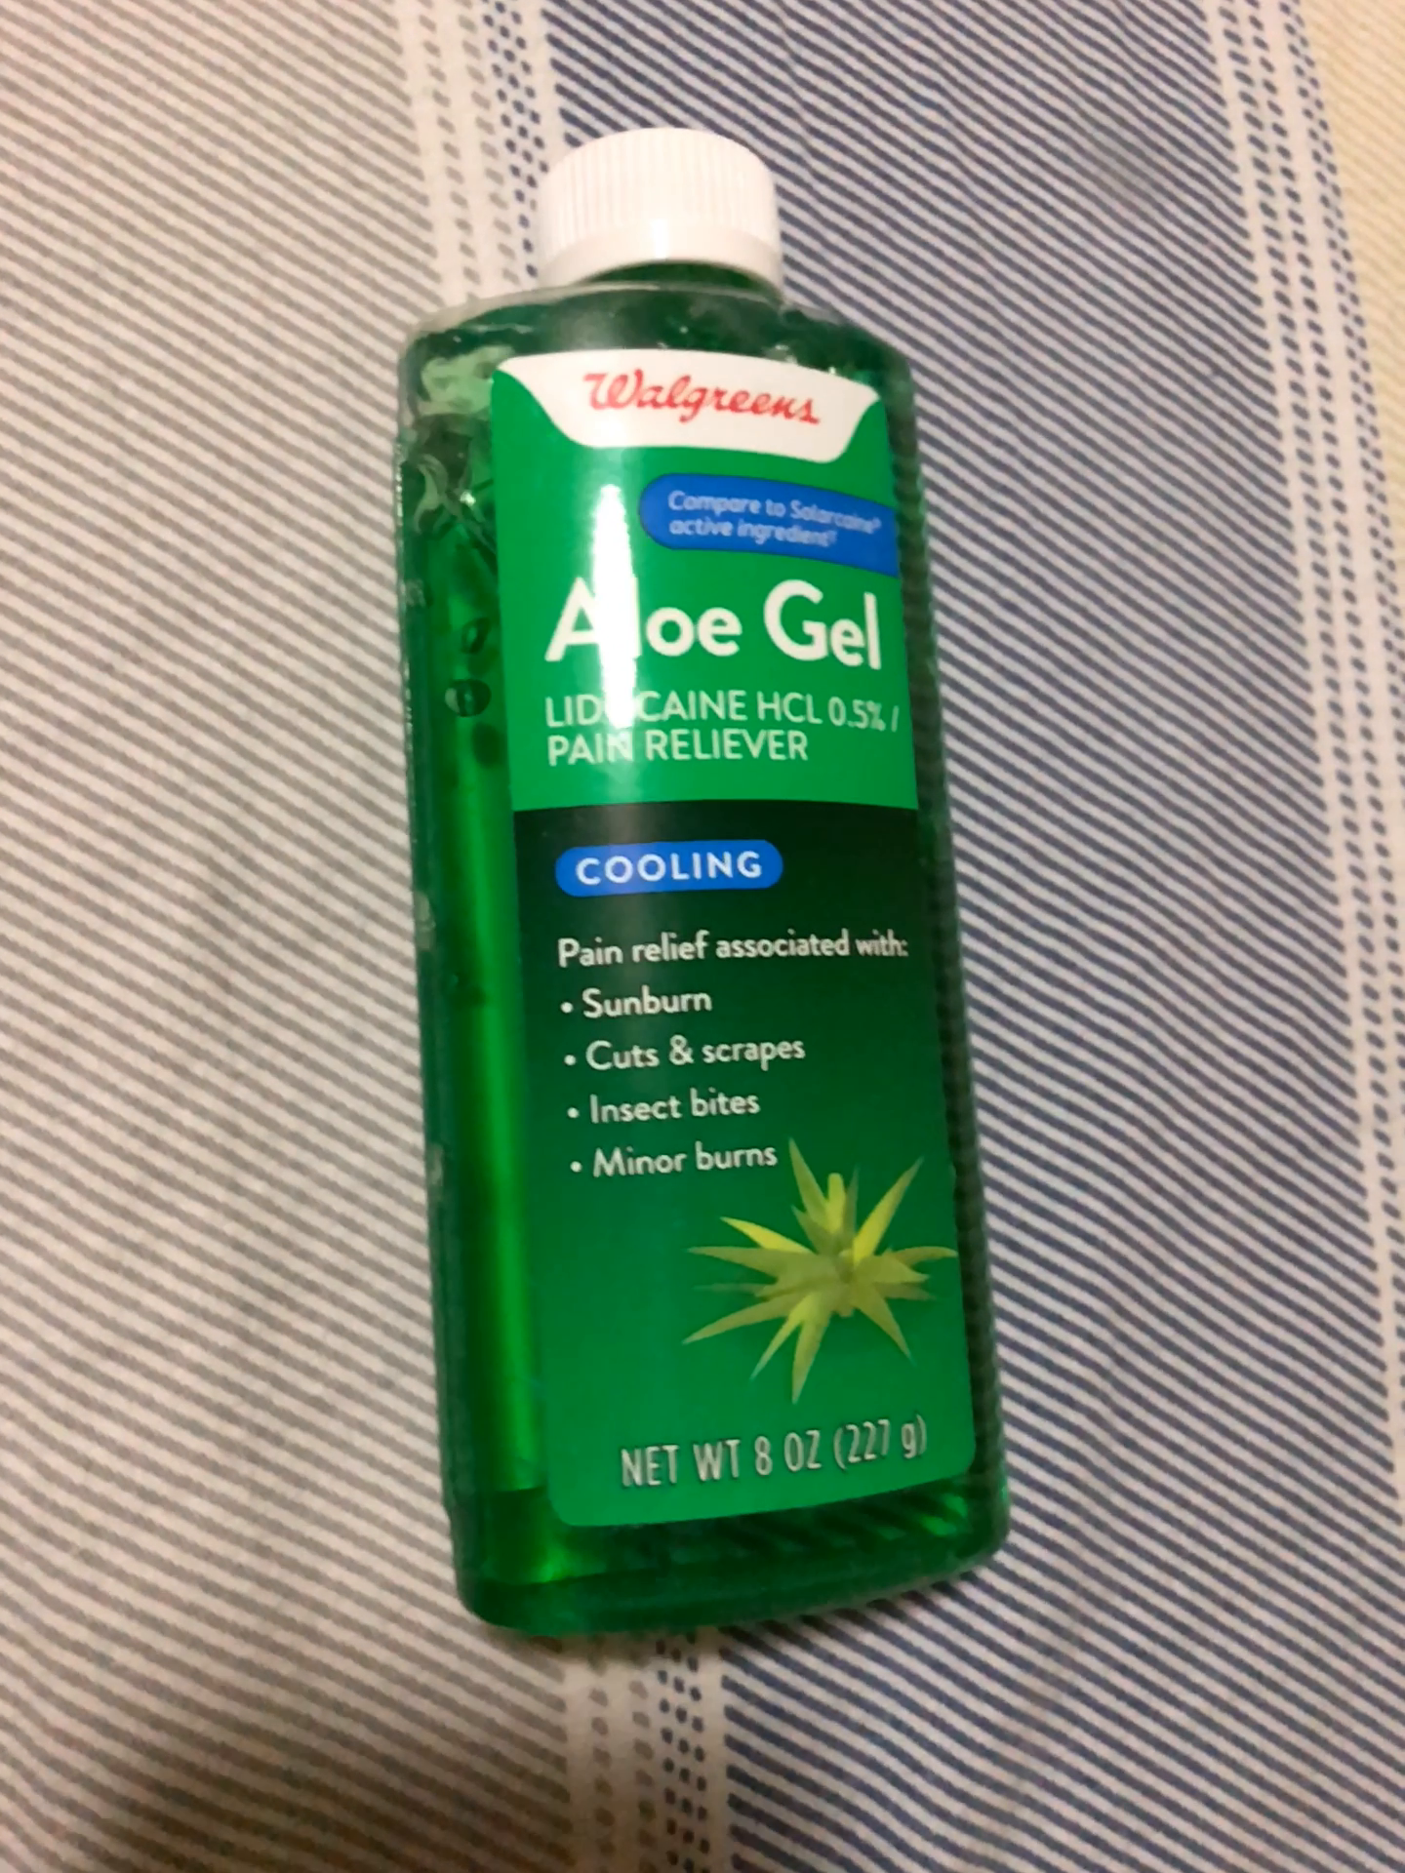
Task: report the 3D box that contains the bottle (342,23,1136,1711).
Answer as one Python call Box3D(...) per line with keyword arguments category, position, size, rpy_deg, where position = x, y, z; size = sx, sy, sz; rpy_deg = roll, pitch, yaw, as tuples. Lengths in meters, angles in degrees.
Box3D(category="bottle", position=(0.002, -0.012, 0.194), size=(0.080, 0.030, 0.180), rpy_deg=(-1, 82, -21))
